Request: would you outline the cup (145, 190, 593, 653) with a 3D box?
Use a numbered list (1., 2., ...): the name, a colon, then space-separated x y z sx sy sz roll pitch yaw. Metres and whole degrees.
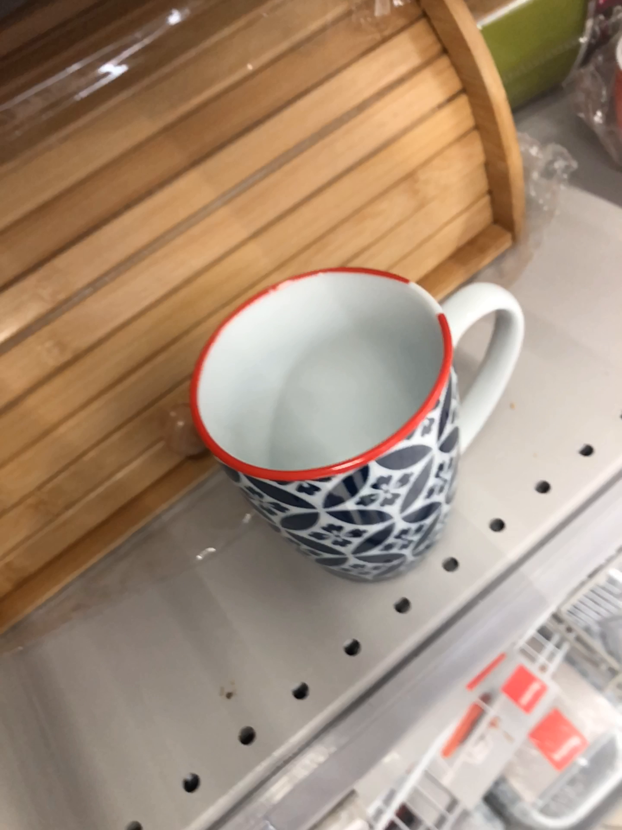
1. cup: 0.025 0.003 0.247 0.113 0.090 0.080 -37 53 -11
